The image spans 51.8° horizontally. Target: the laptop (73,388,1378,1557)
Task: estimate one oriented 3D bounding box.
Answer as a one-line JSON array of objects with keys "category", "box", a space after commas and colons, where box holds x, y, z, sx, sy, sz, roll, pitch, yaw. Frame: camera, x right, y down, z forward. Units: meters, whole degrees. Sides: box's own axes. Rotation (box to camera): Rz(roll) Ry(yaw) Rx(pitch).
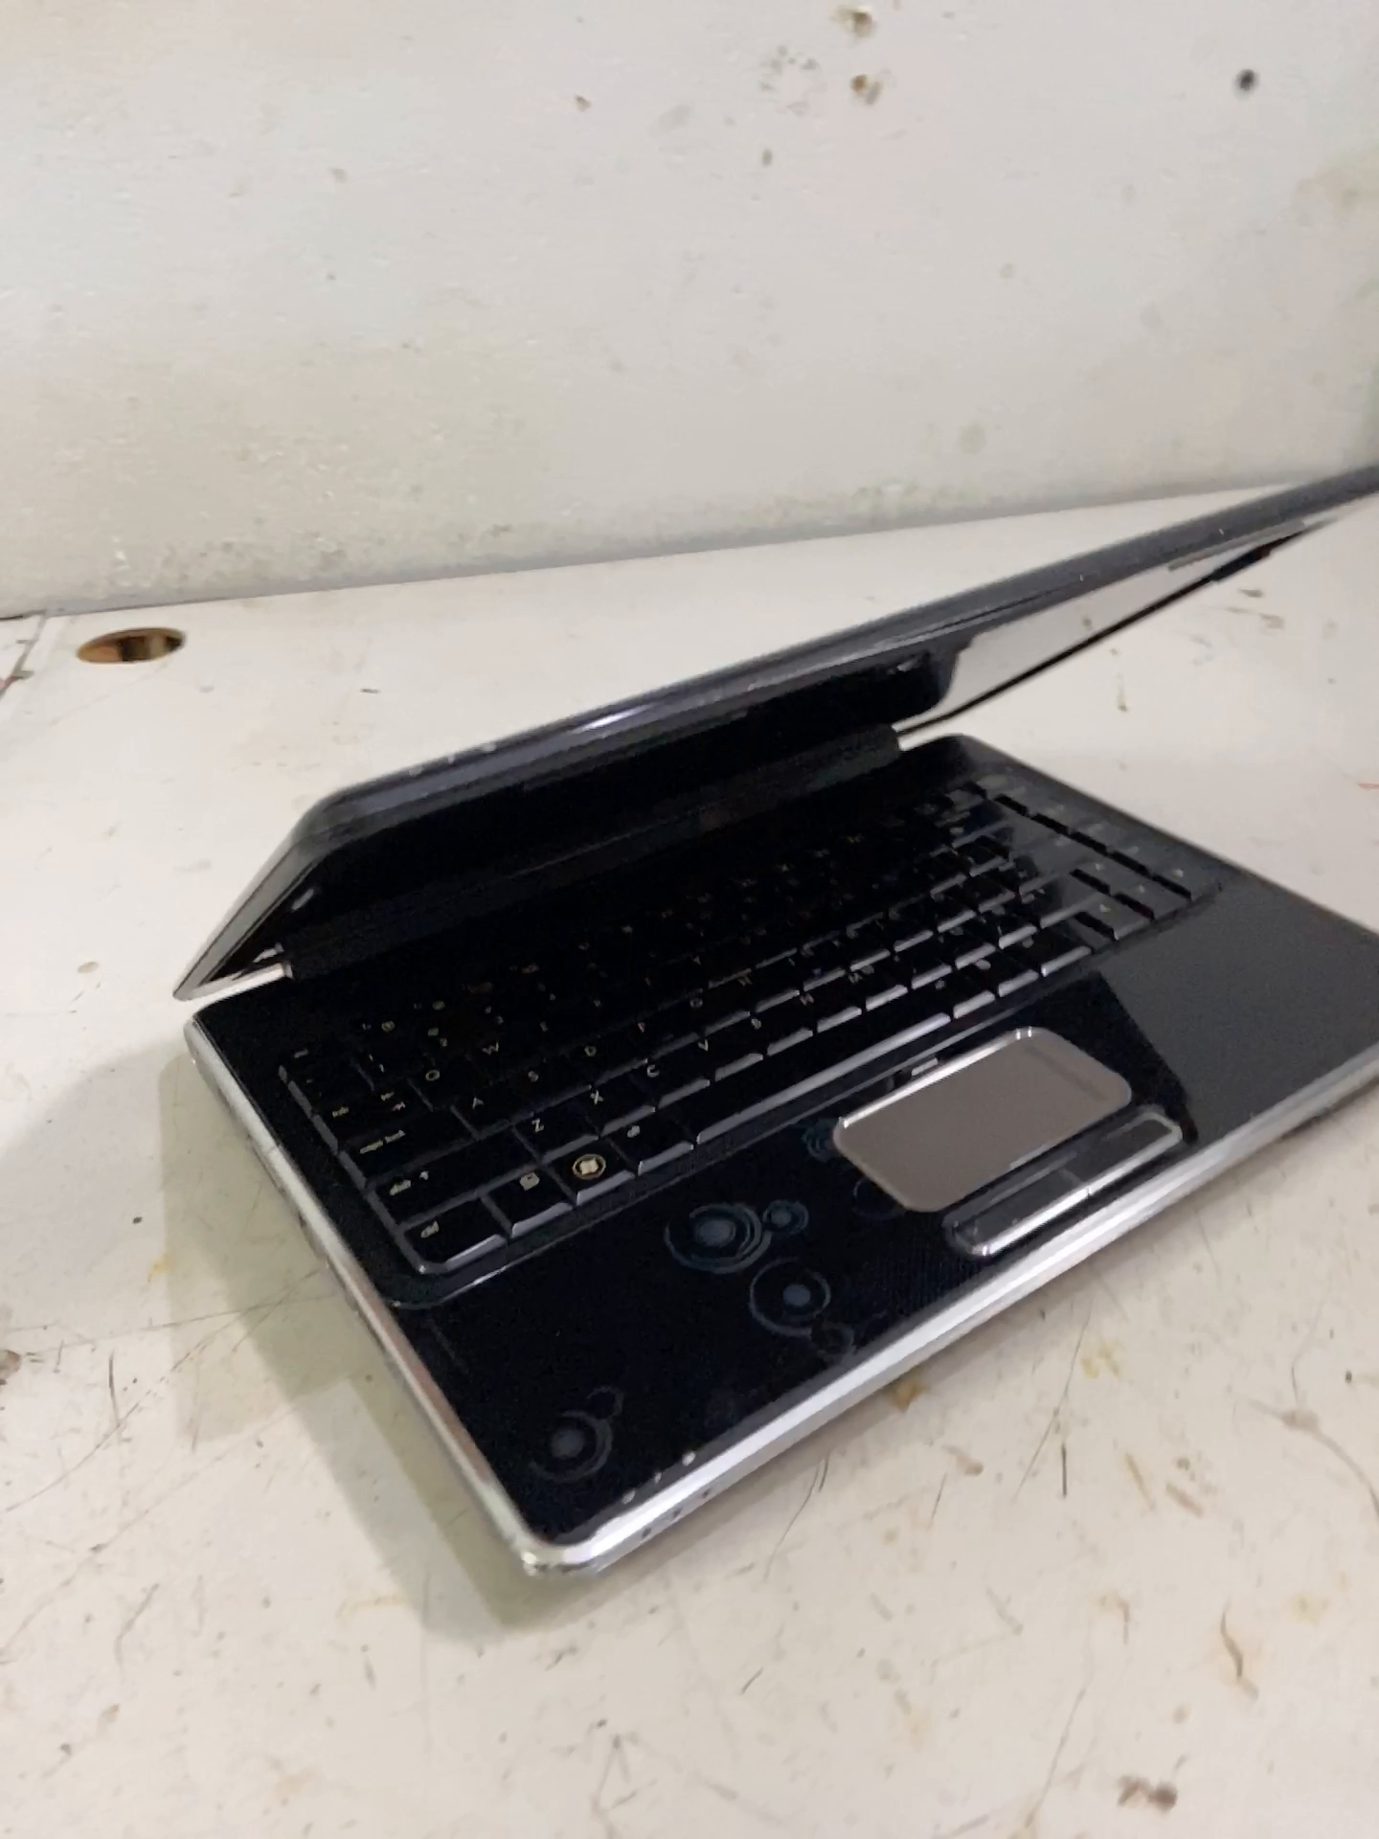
[{"category": "laptop", "box": [0.039, -0.035, 0.407, 0.328, 0.137, 0.232, -21, 37, -27]}]
